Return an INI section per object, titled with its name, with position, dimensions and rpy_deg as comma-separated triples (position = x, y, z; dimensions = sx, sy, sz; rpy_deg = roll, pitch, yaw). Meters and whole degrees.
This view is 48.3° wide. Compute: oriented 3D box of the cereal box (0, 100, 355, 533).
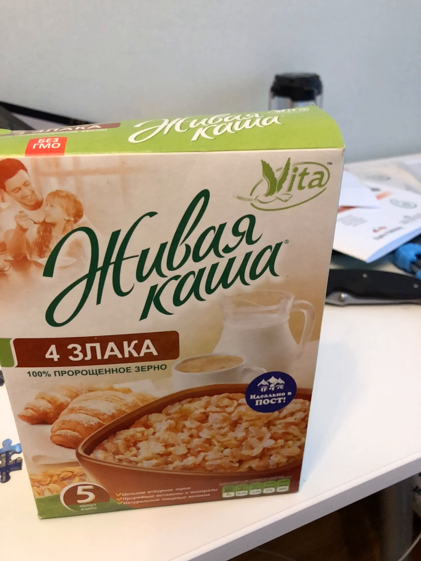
[cereal box]
position = -0.022, 0.027, 0.229
dimensions = 0.140, 0.209, 0.050
rpy_deg = -3, 28, -6
